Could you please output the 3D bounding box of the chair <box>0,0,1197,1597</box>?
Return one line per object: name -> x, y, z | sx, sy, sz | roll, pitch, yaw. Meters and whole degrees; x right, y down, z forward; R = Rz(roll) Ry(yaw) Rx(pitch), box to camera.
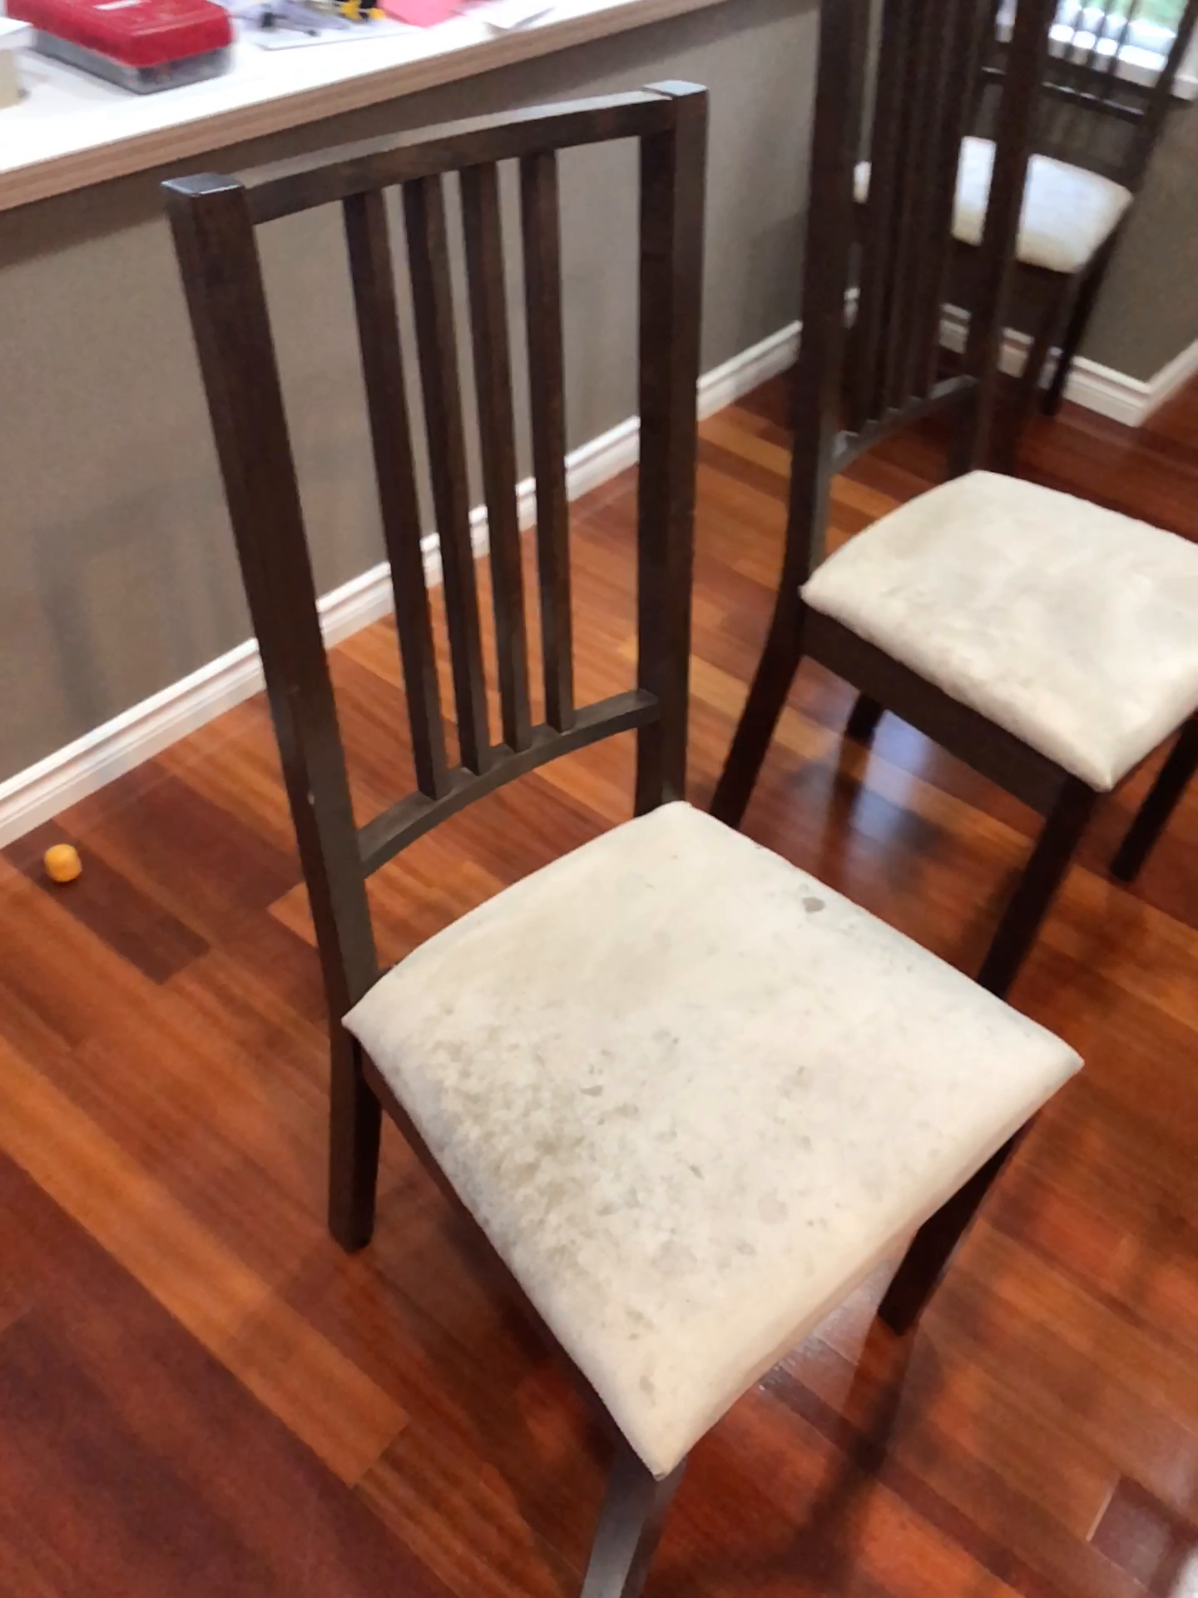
chair -> 0.078, 0.067, 0.938 | 0.592, 0.993, 0.542 | -33, 57, -33
